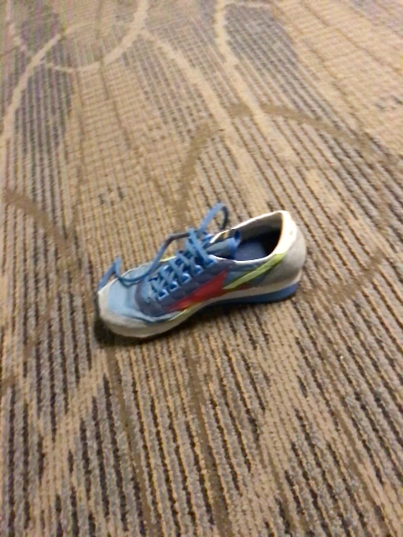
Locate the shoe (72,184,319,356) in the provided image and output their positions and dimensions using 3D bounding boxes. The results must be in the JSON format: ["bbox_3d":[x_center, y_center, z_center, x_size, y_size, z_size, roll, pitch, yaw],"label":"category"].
[{"bbox_3d":[-0.007,0.003,0.511,0.259,0.095,0.101,-16,51,1],"label":"shoe"}]
